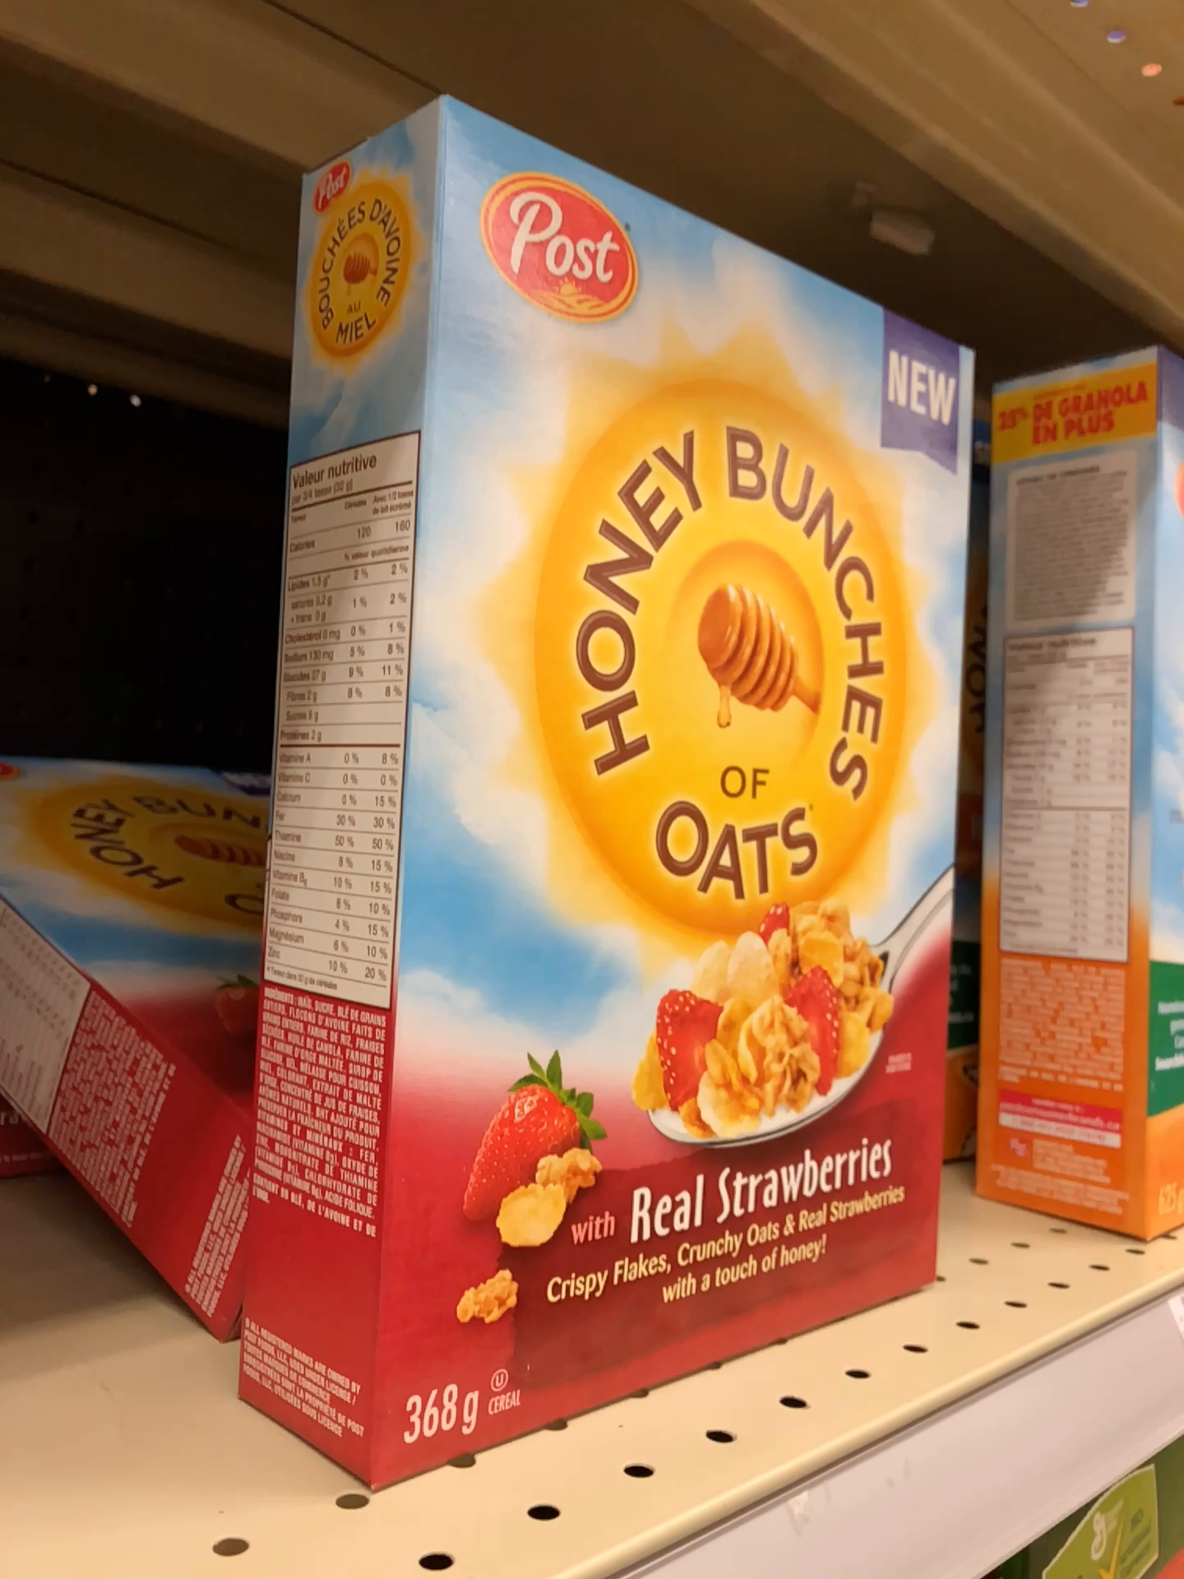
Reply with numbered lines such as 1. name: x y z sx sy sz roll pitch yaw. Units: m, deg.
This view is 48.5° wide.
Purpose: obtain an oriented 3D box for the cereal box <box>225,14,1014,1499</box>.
1. cereal box: 0.023 -0.004 0.324 0.200 0.270 0.050 5 -2 -42
